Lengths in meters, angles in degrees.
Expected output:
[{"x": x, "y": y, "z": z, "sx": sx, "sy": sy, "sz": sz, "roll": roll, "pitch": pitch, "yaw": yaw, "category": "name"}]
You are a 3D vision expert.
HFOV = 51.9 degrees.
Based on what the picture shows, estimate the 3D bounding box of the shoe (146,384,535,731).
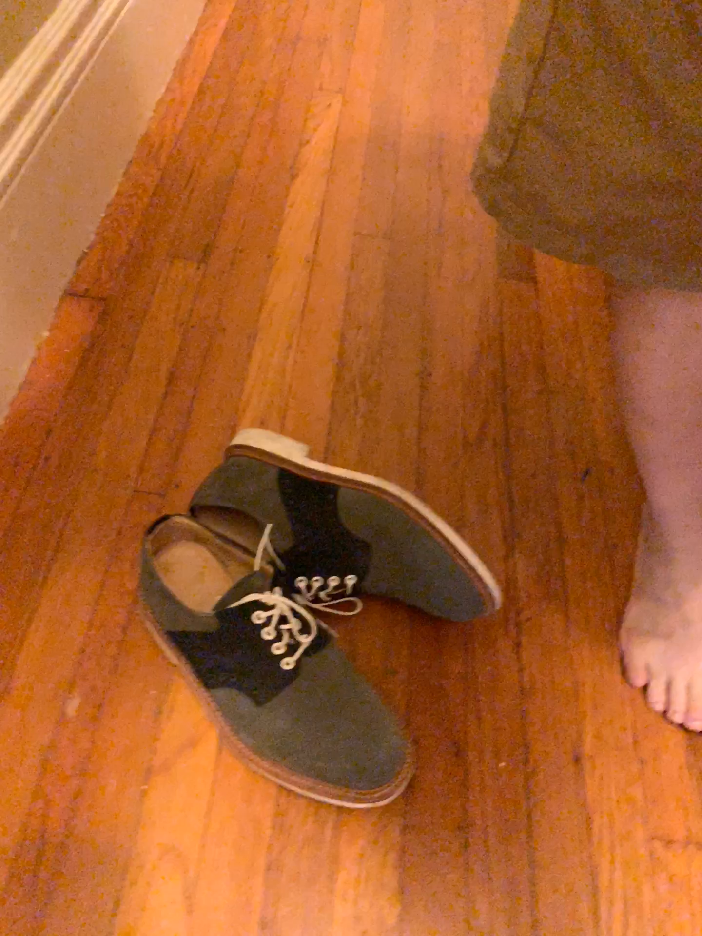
[{"x": -0.017, "y": 0.077, "z": 0.651, "sx": 0.310, "sy": 0.129, "sz": 0.120, "roll": 32, "pitch": 59, "yaw": 14, "category": "shoe"}]

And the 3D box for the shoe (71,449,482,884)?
[{"x": -0.067, "y": 0.144, "z": 0.572, "sx": 0.130, "sy": 0.100, "sz": 0.311, "roll": -37, "pitch": 67, "yaw": -28, "category": "shoe"}]
